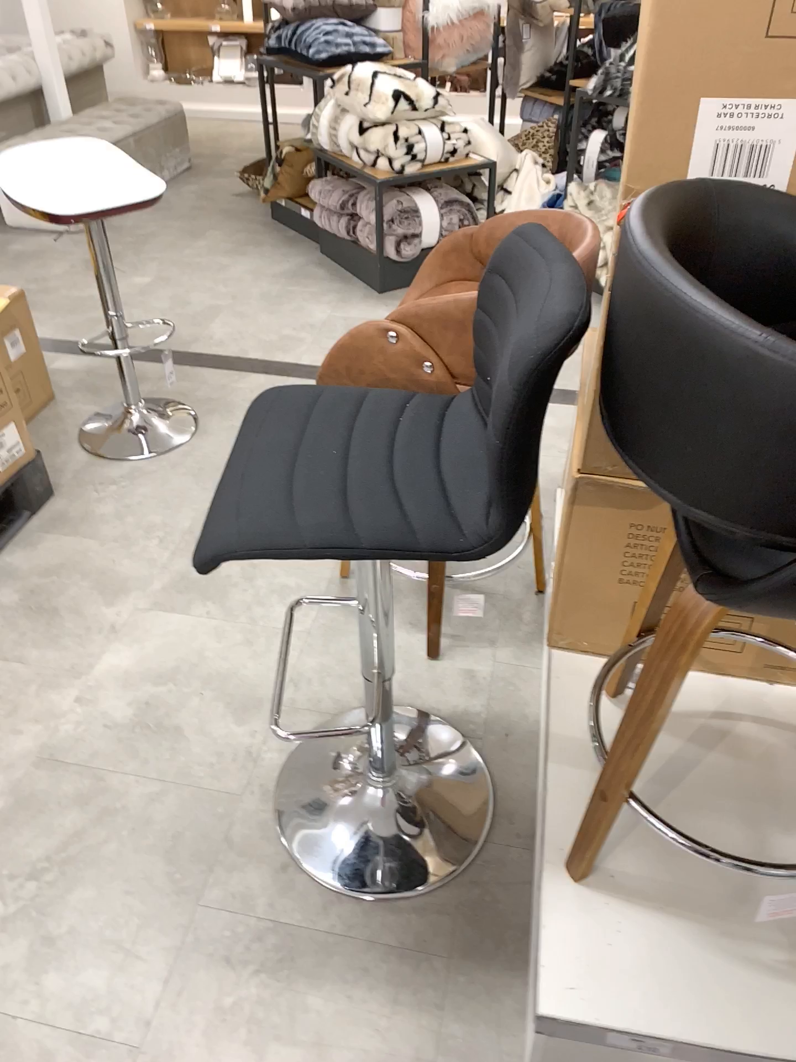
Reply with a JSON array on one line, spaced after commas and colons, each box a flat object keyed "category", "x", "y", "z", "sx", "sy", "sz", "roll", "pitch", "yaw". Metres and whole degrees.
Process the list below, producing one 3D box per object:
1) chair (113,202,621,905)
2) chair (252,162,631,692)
[{"category": "chair", "x": -0.025, "y": 0.086, "z": 1.228, "sx": 0.468, "sy": 0.993, "sz": 0.458, "roll": 0, "pitch": 38, "yaw": 1}, {"category": "chair", "x": 0.103, "y": -0.223, "z": 1.711, "sx": 0.519, "sy": 0.875, "sz": 0.528, "roll": 15, "pitch": 40, "yaw": 19}]
